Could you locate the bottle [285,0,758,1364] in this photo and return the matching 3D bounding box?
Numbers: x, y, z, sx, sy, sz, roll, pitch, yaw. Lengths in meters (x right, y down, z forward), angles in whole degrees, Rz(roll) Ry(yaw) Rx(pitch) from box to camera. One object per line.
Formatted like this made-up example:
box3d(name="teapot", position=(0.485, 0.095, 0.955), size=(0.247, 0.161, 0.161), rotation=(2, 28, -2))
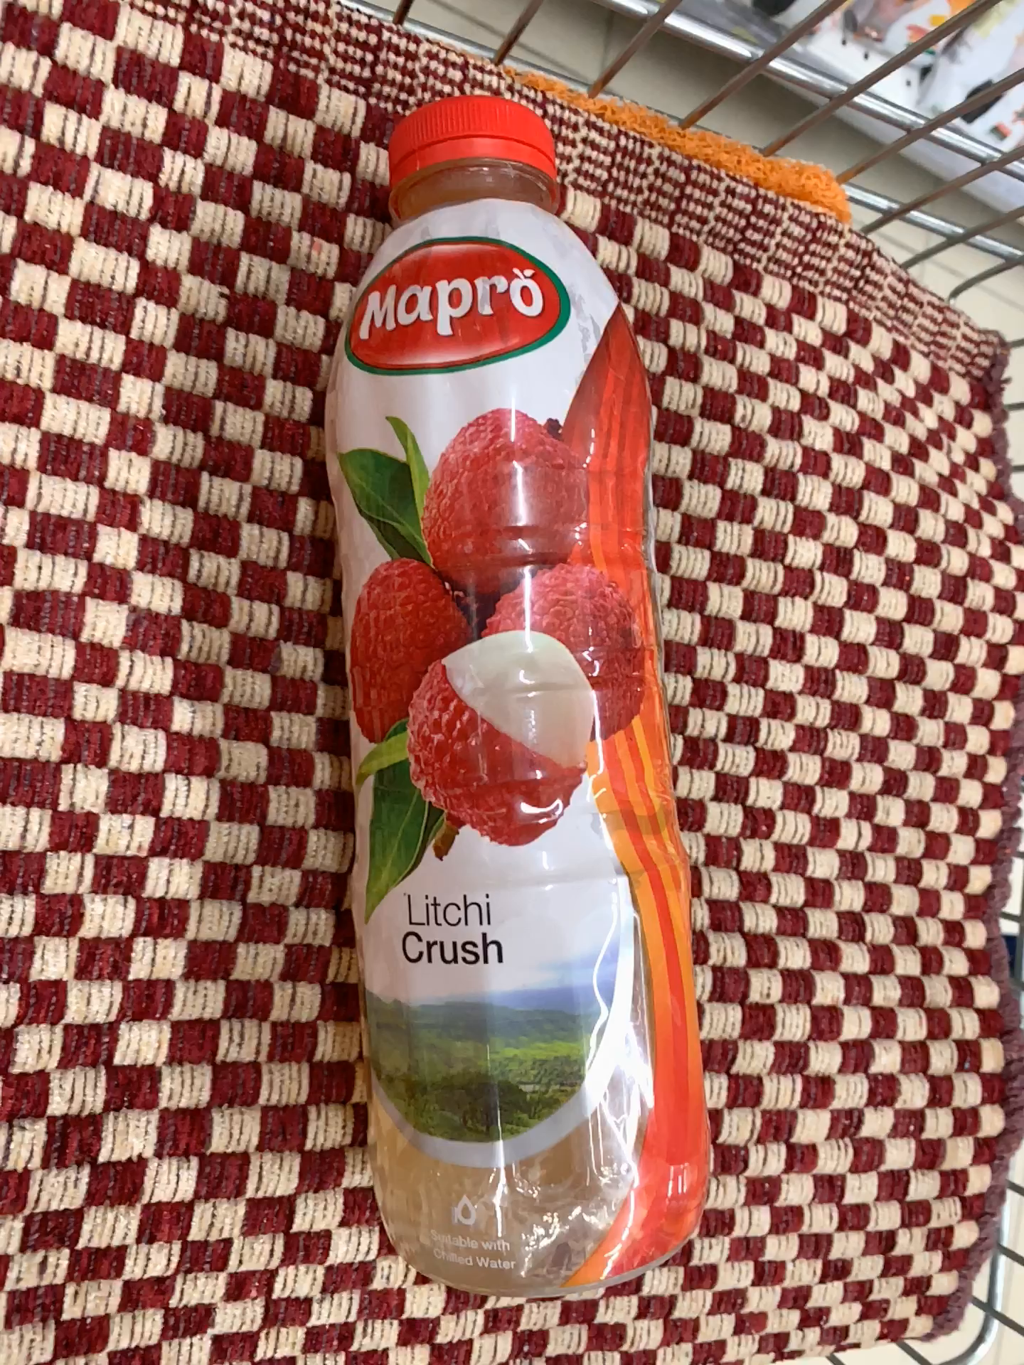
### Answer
box3d(name="bottle", position=(0.008, -0.002, 0.230), size=(0.080, 0.070, 0.240), rotation=(-3, 91, -68))
